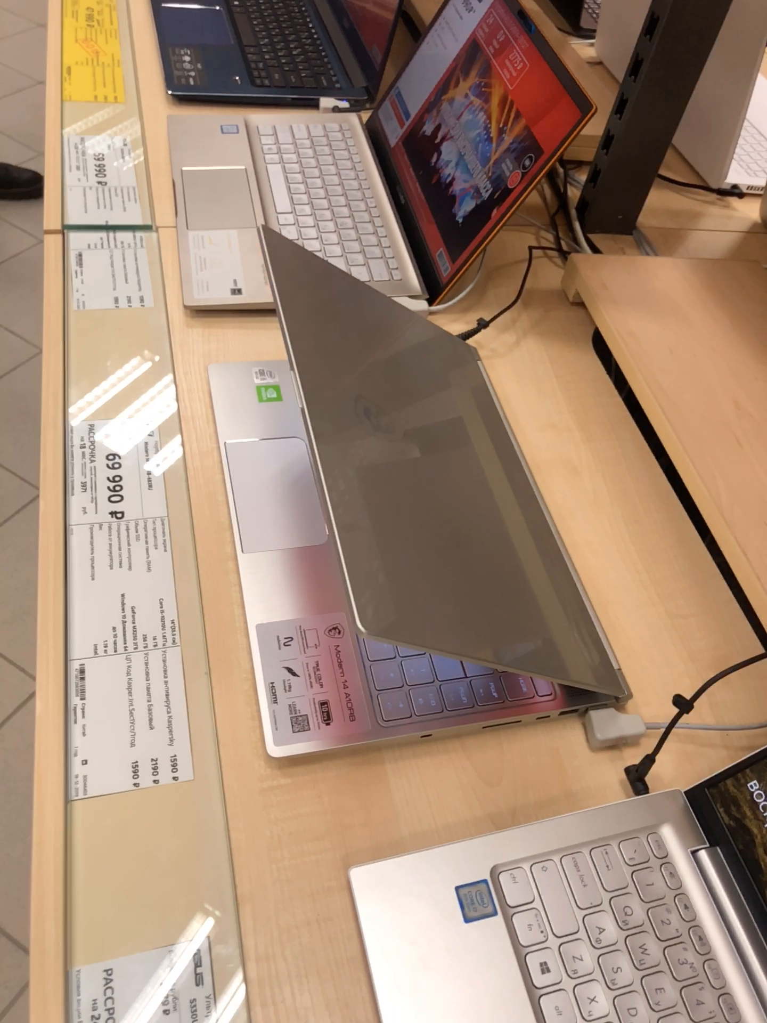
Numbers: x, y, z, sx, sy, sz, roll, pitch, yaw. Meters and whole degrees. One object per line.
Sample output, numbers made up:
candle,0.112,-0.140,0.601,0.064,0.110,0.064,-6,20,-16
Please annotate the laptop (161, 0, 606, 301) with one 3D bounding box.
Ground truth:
laptop,-0.030,-0.362,0.760,0.314,0.170,0.310,-5,52,-14

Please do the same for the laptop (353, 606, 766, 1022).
laptop,0.182,0.238,0.311,0.301,0.154,0.326,-8,51,-14

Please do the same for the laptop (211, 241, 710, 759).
laptop,0.016,-0.033,0.543,0.216,0.113,0.322,-5,51,-15
